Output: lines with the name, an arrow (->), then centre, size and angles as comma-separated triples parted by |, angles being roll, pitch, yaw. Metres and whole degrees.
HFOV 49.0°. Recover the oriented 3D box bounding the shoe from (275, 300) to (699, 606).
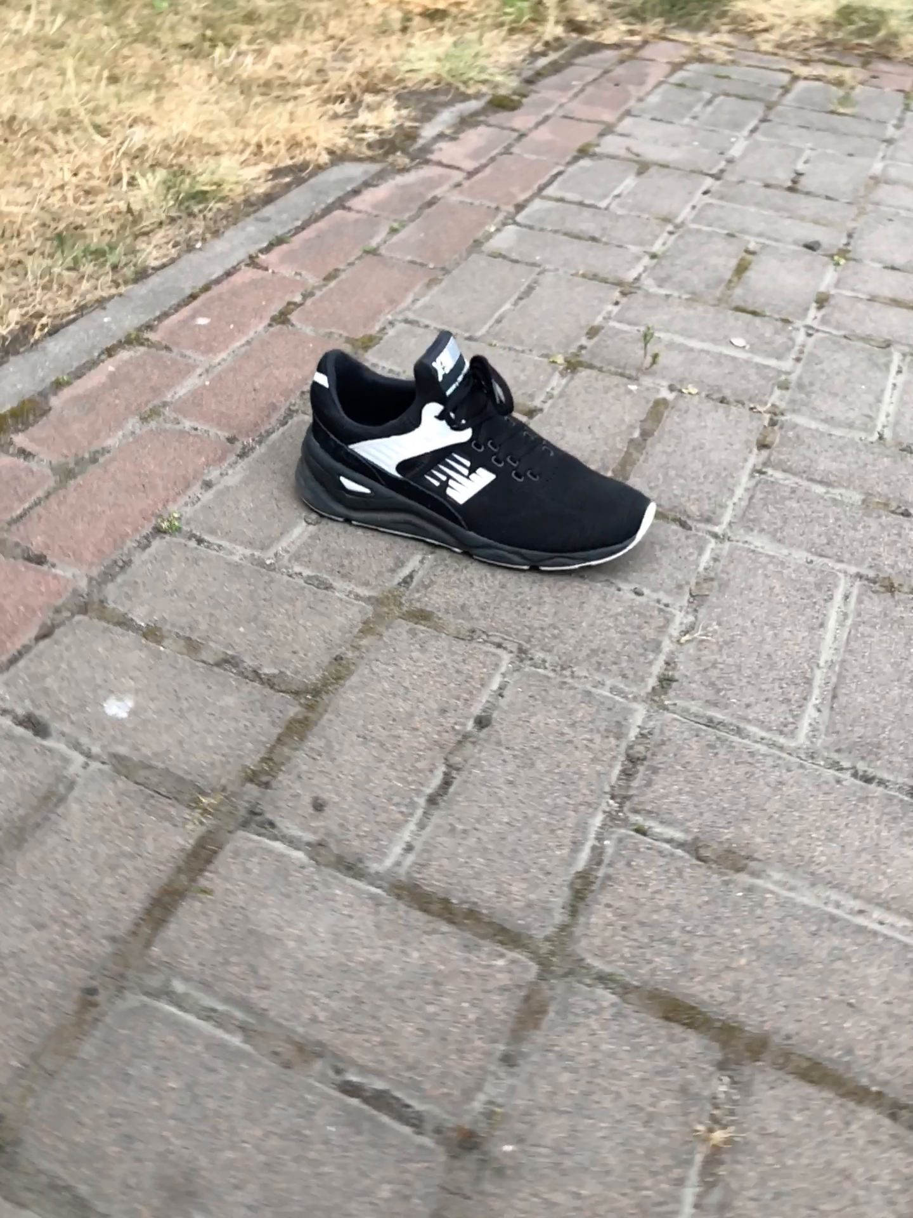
shoe -> 0.019, -0.120, 0.744 | 0.280, 0.129, 0.101 | 17, 44, 13
